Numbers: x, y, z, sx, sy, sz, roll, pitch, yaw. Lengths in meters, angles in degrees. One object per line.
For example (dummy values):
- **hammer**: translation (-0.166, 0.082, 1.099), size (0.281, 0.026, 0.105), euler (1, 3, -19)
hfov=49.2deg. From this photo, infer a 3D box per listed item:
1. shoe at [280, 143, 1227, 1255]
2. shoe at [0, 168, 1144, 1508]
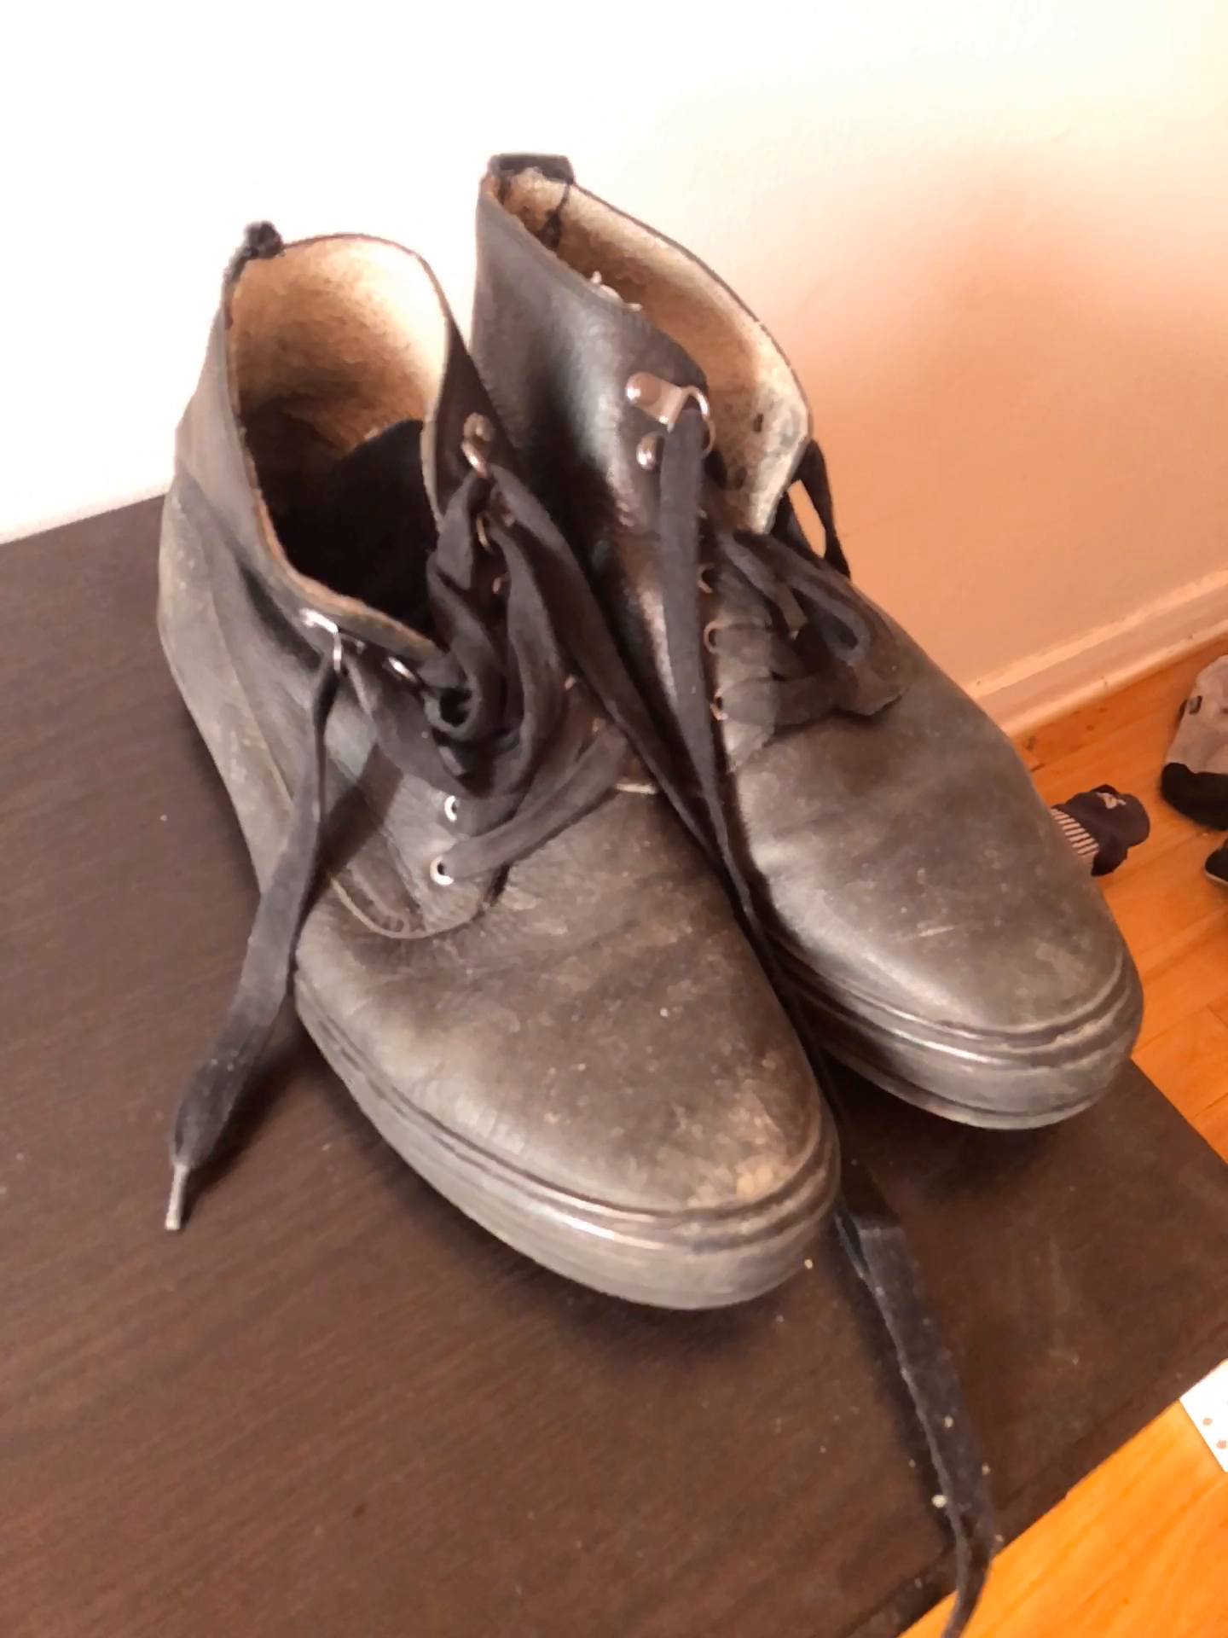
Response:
- **shoe**: translation (0.040, -0.060, 0.408), size (0.120, 0.109, 0.341), euler (-28, 61, -24)
- **shoe**: translation (-0.046, -0.025, 0.355), size (0.120, 0.109, 0.342), euler (-24, 59, -22)
